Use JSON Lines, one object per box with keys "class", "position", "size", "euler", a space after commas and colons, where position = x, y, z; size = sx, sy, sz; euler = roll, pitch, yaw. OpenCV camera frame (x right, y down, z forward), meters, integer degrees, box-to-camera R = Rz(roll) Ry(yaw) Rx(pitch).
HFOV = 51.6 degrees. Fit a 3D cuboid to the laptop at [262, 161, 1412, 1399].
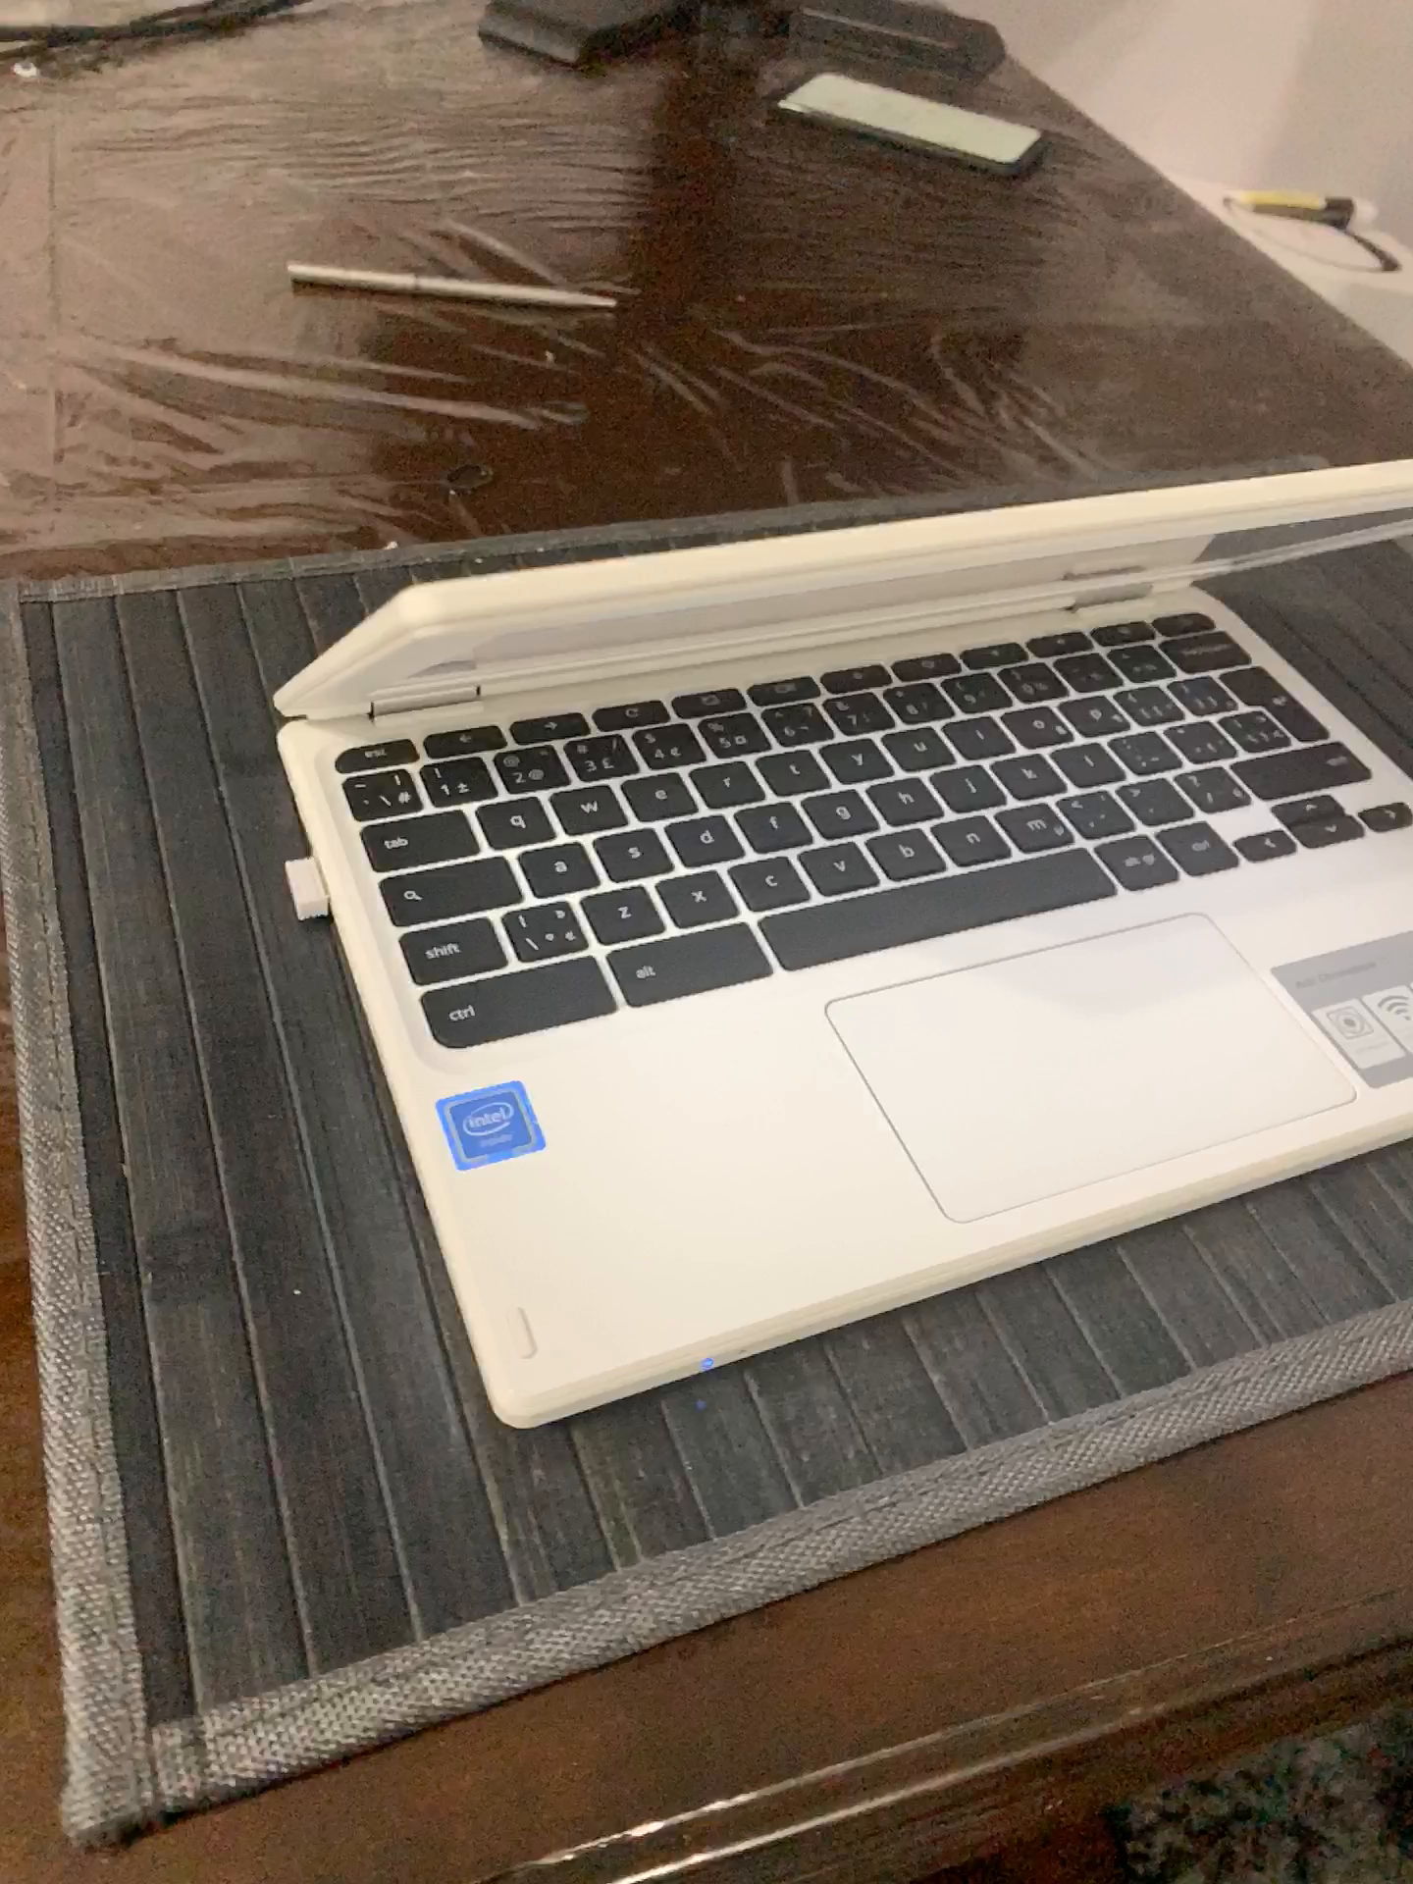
{"class": "laptop", "position": [0.075, -0.058, 0.299], "size": [0.281, 0.124, 0.182], "euler": [-12, 49, -20]}
